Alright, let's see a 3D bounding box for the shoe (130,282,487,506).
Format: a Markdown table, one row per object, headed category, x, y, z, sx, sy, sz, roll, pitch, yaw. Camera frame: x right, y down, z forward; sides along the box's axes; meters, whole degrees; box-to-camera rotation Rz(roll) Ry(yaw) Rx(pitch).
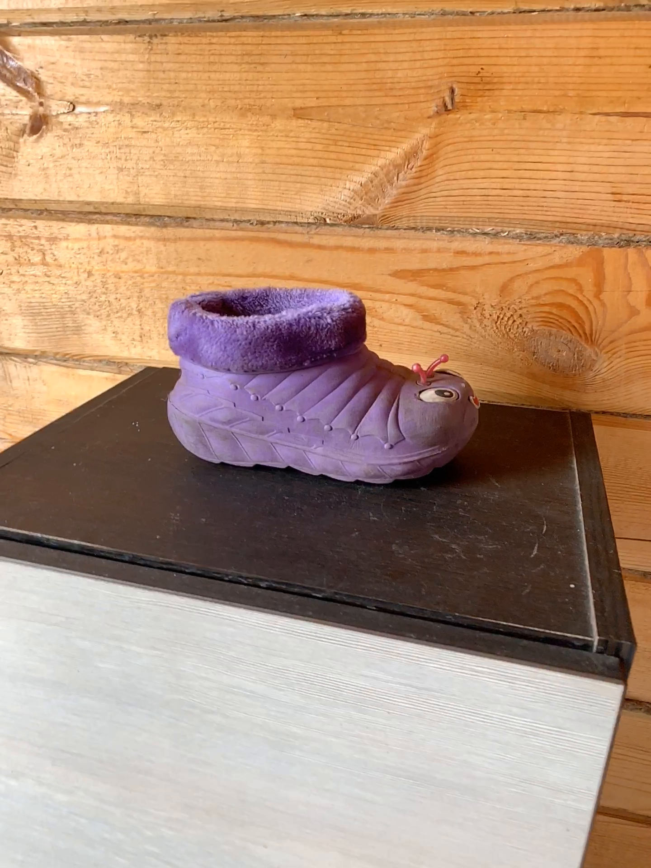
| category | x | y | z | sx | sy | sz | roll | pitch | yaw |
| --- | --- | --- | --- | --- | --- | --- | --- | --- | --- |
| shoe | -0.006 | -0.032 | 0.423 | 0.200 | 0.099 | 0.091 | 6 | 23 | 11 |
